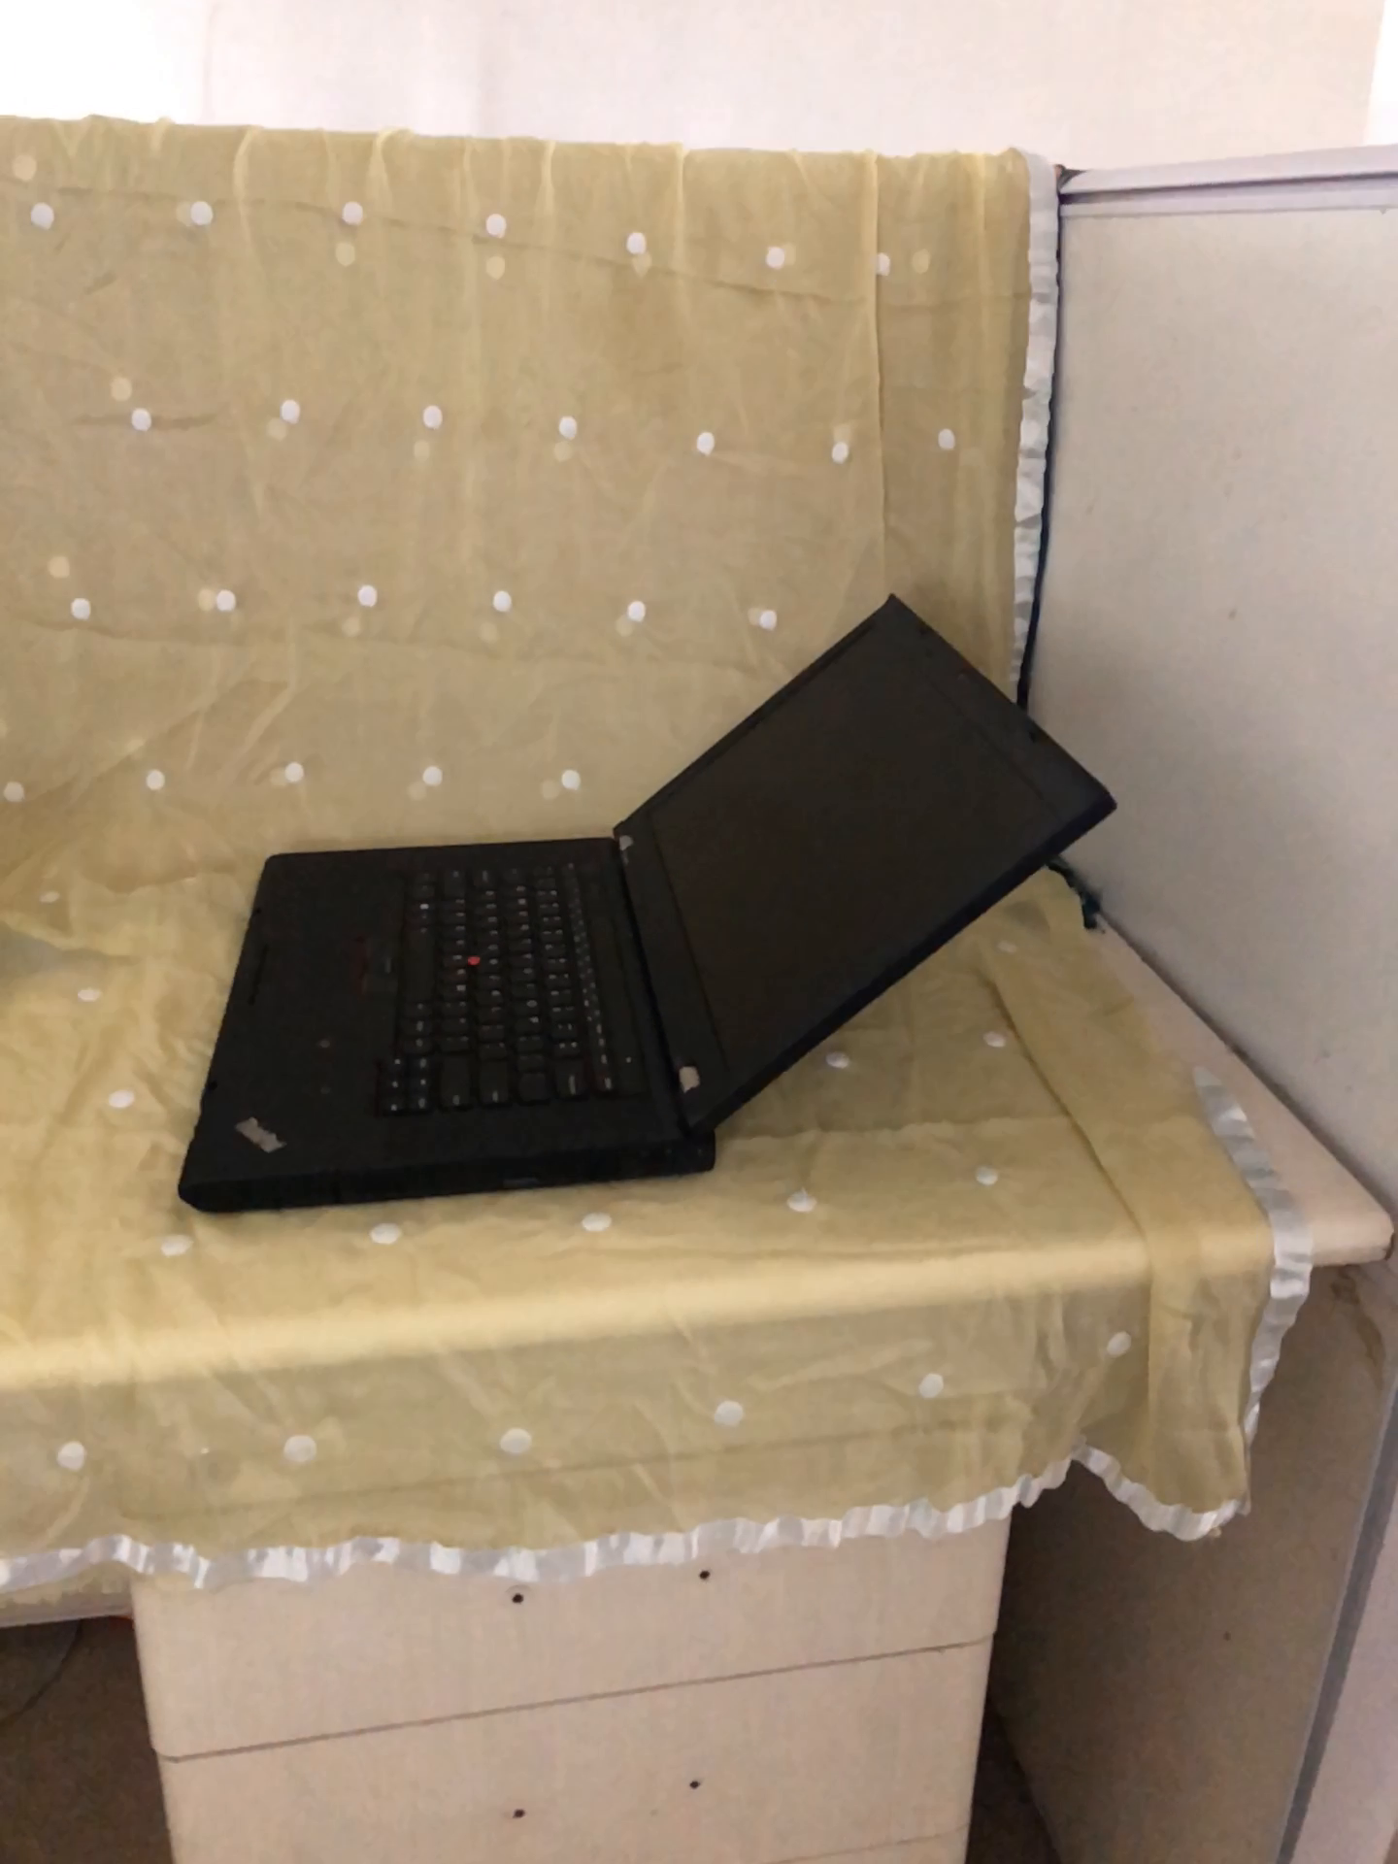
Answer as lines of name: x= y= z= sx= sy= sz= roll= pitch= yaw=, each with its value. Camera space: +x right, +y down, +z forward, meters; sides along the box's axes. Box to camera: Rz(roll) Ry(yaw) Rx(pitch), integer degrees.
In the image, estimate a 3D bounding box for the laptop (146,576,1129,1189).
laptop: x=-0.047 y=-0.056 z=0.845 sx=0.424 sy=0.156 sz=0.349 roll=-6 pitch=26 yaw=-6
